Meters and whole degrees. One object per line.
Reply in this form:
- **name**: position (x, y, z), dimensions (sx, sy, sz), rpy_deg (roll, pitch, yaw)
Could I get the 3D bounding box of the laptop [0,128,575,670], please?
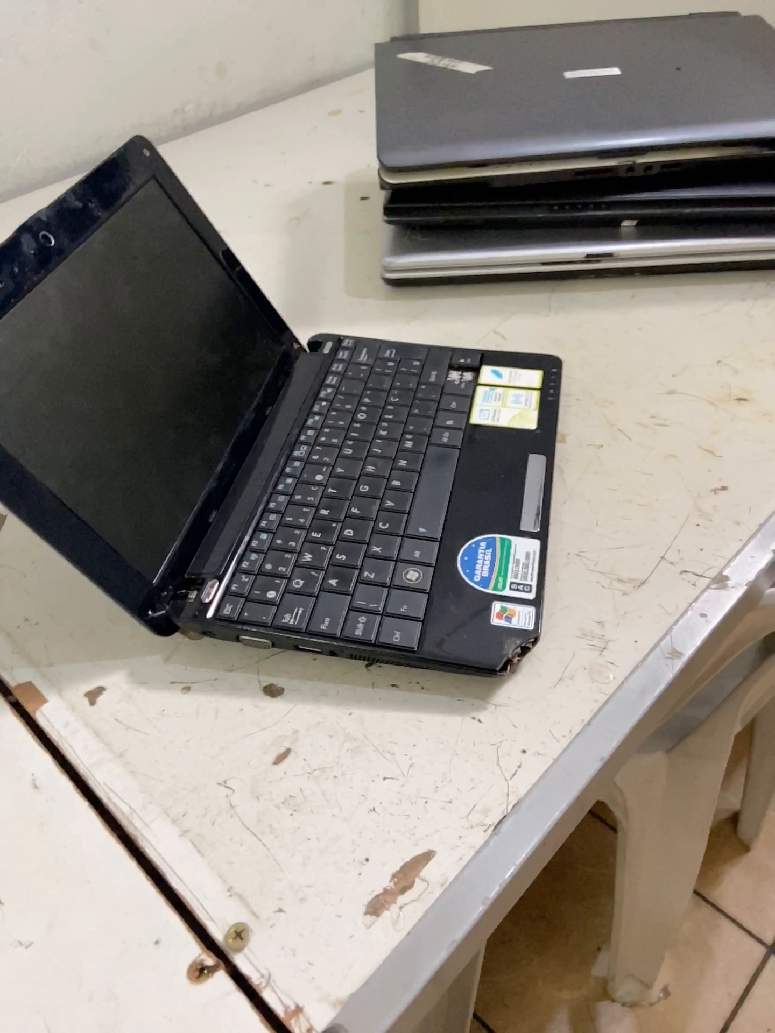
- **laptop**: position (-0.050, -0.085, 0.420), dimensions (0.265, 0.131, 0.260), rpy_deg (8, 44, 10)
